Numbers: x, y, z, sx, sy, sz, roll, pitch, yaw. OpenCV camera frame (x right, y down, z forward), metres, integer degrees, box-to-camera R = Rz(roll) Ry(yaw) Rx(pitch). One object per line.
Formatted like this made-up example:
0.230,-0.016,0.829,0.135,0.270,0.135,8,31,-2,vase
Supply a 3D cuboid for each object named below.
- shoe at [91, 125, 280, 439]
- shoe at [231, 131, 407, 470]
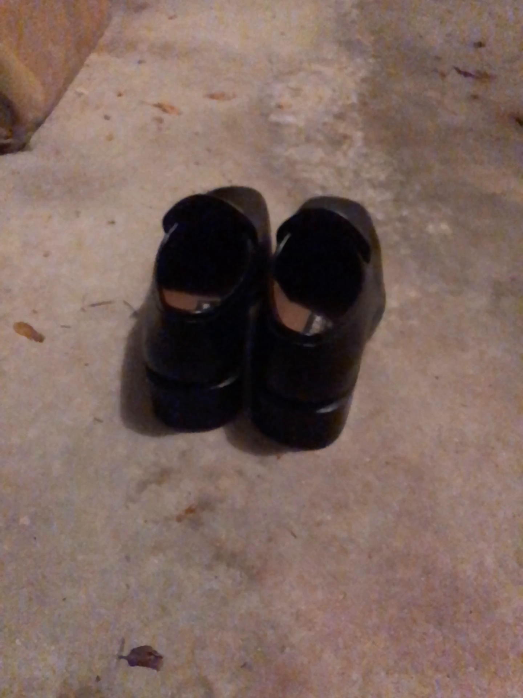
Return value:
-0.043,-0.071,0.483,0.104,0.112,0.270,3,44,2,shoe
0.055,-0.058,0.473,0.101,0.112,0.280,7,45,7,shoe
